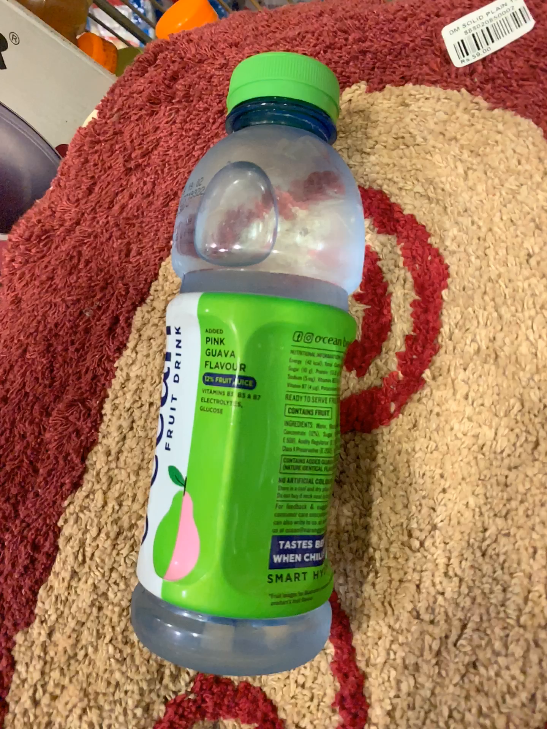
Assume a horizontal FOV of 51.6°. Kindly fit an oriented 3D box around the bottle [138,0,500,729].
[{"bbox_3d":[0.016,-0.009,0.196,0.080,0.070,0.210,3,87,44],"label":"bottle"}]
